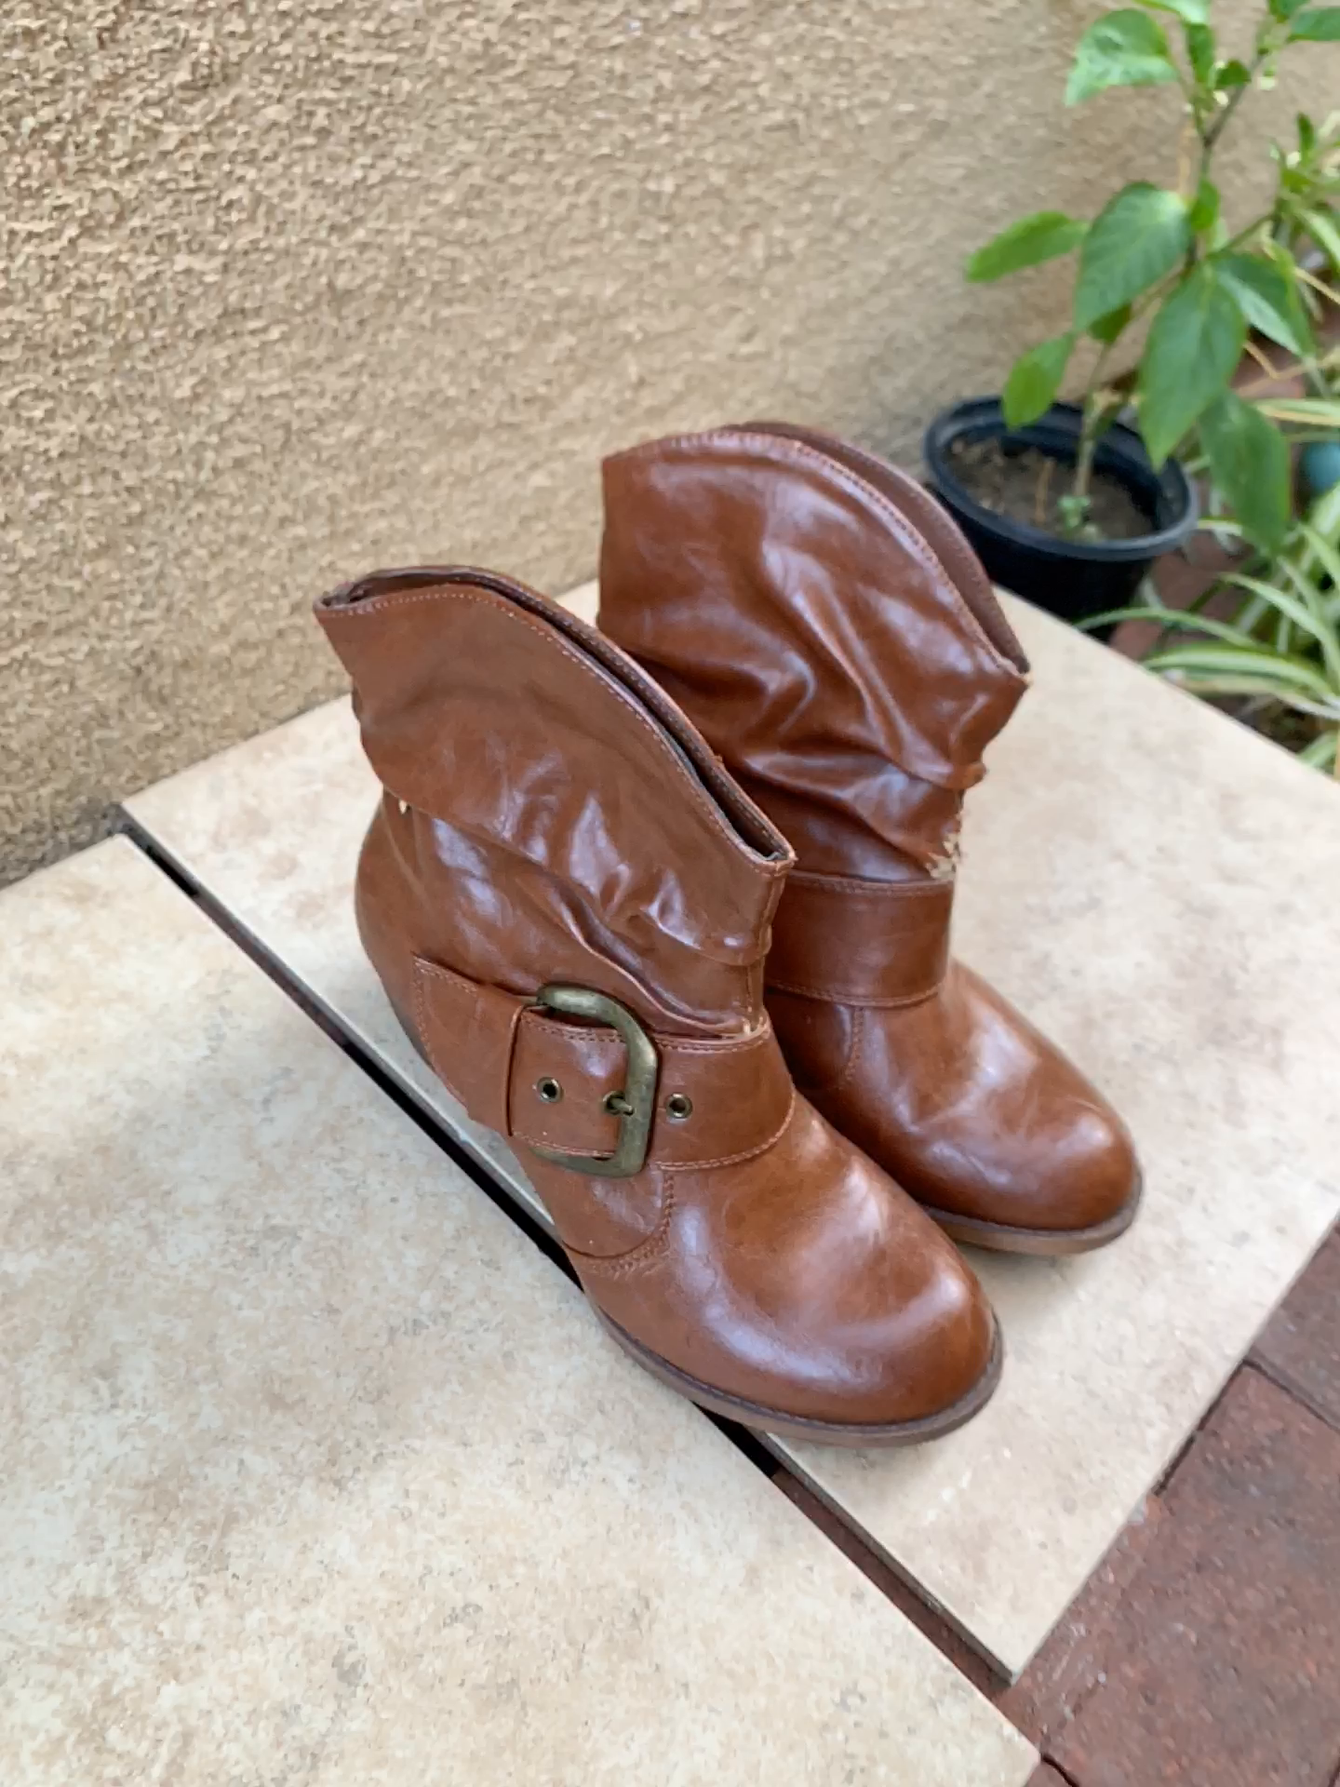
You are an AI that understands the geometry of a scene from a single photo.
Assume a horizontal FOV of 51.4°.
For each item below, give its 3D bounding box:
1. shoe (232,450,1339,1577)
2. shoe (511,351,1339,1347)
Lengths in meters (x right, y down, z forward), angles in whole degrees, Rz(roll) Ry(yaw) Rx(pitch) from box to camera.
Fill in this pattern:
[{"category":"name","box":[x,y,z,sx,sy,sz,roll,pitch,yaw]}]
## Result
[{"category":"shoe","box":[0.009,0.032,0.384,0.245,0.198,0.096,33,50,21]},{"category":"shoe","box":[0.074,-0.017,0.445,0.245,0.198,0.101,37,51,24]}]
